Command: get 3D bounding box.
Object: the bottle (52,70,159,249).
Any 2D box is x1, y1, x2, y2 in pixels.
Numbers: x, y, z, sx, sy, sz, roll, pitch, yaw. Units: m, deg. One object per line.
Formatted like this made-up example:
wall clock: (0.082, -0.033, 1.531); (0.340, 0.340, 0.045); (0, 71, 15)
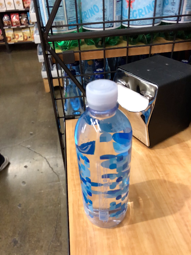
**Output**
bottle: (0.014, 0.046, 0.251); (0.070, 0.199, 0.070); (-2, 36, 1)
